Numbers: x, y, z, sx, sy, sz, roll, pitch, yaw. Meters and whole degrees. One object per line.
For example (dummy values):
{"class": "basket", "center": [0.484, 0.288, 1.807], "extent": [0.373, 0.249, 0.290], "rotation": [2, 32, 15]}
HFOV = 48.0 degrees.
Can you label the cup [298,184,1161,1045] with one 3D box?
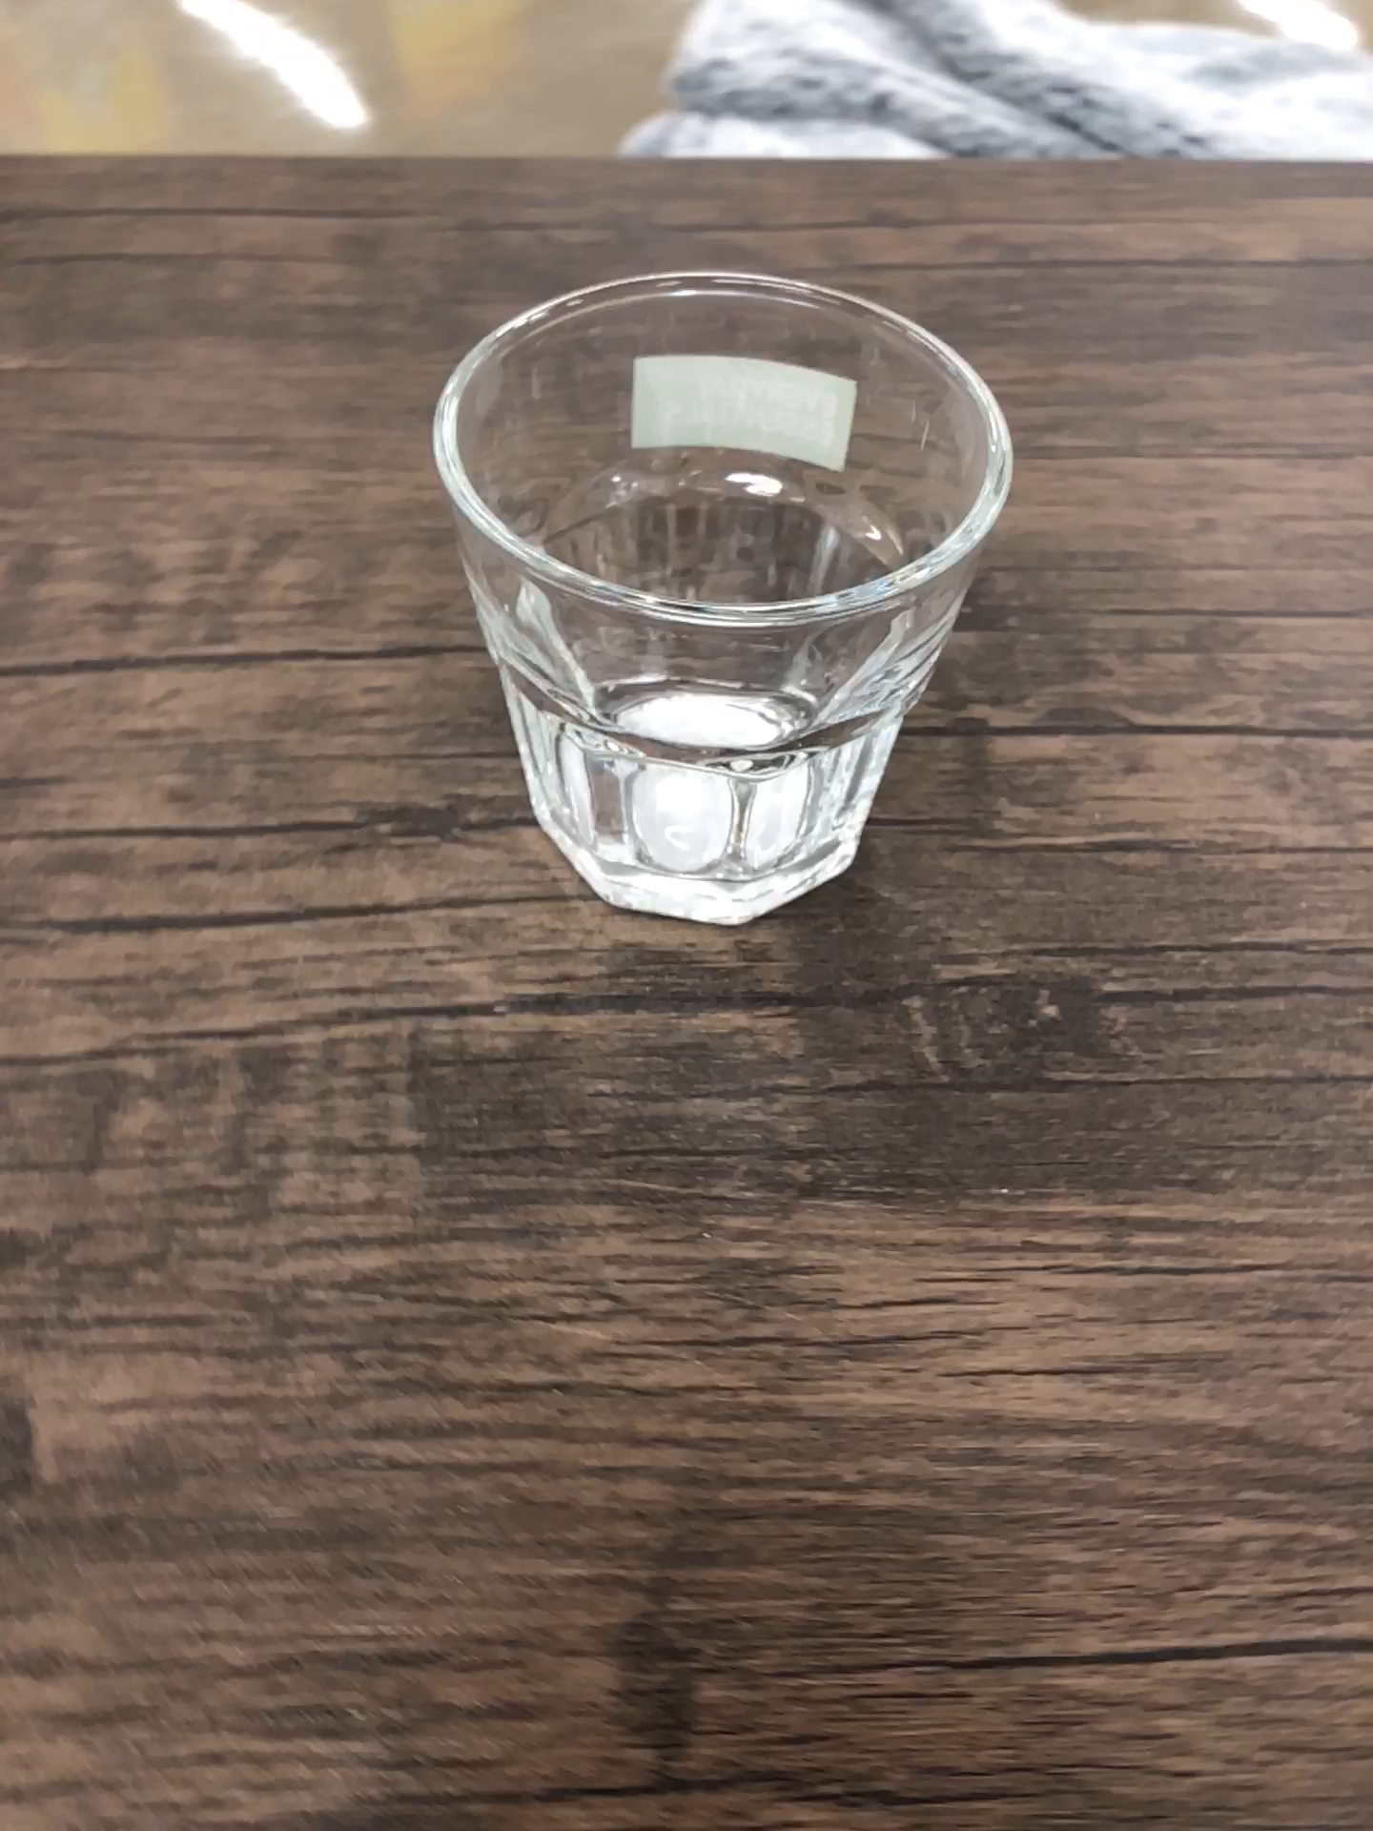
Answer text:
{"class": "cup", "center": [0.009, -0.050, 0.241], "extent": [0.090, 0.070, 0.090], "rotation": [0, 52, -1]}
